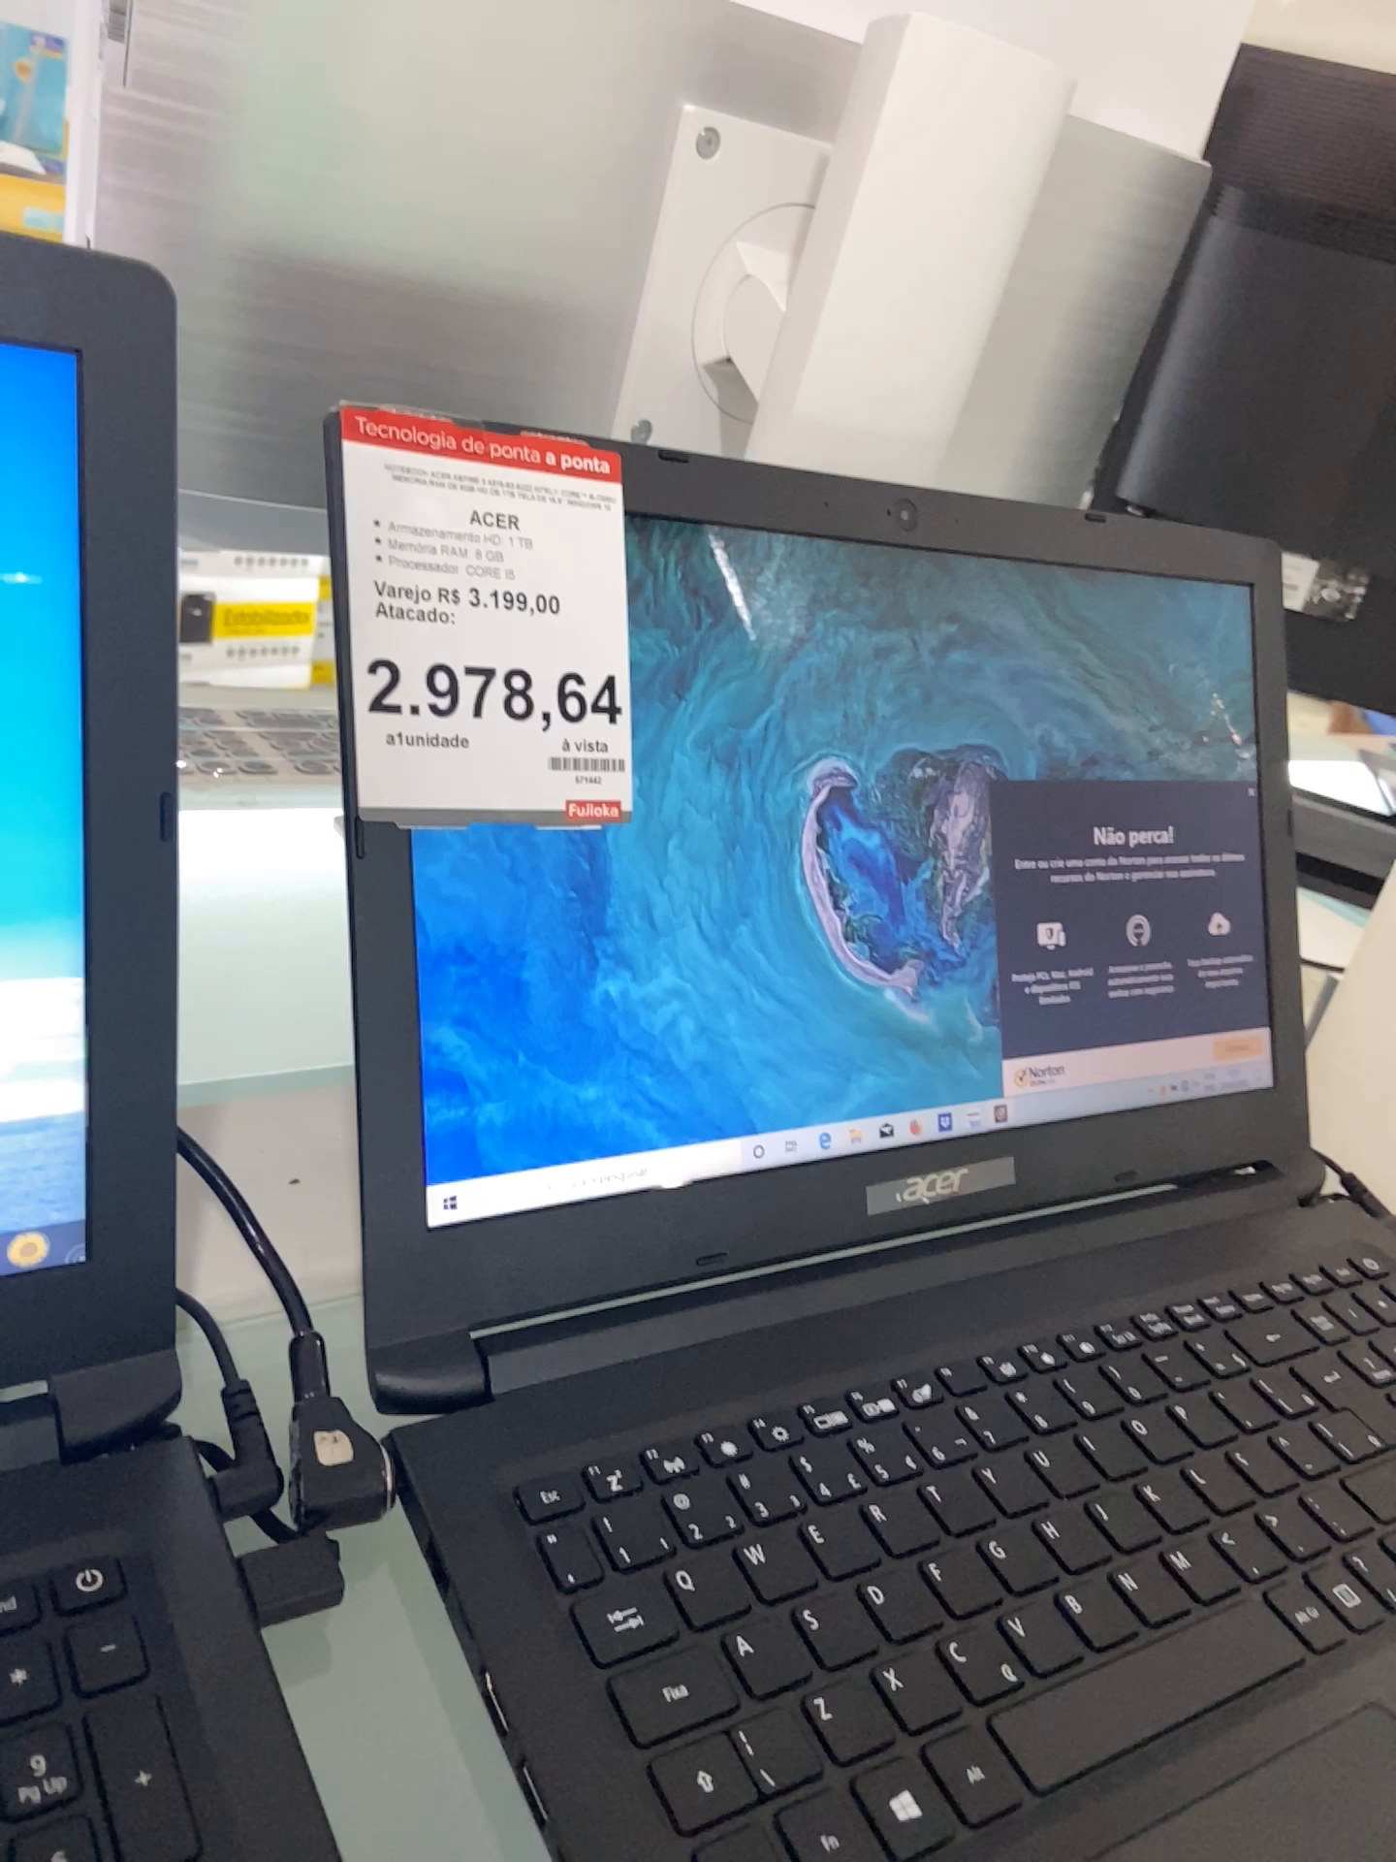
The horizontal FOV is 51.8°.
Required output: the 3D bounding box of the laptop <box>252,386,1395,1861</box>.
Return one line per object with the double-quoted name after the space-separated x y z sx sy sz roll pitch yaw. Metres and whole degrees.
0.131 0.039 0.362 0.370 0.205 0.376 -3 30 -31 "laptop"
